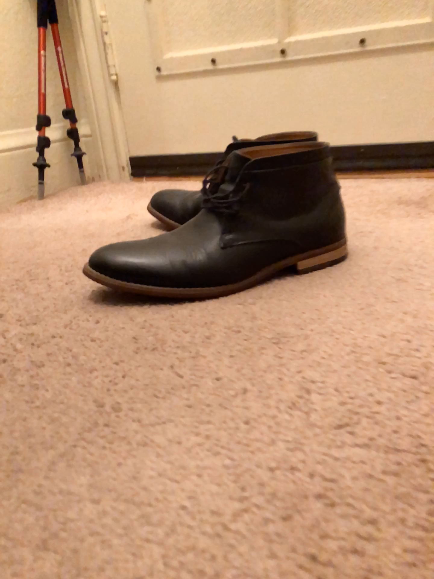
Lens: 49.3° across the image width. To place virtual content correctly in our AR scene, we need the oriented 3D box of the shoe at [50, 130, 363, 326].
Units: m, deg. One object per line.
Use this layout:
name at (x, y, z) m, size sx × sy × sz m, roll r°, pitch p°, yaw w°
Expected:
shoe at (-0.006, -0.081, 0.512) m, size 0.302 × 0.135 × 0.117 m, roll -13°, pitch 24°, yaw -17°

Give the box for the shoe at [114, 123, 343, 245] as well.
shoe at (0.018, -0.156, 0.689) m, size 0.302 × 0.135 × 0.117 m, roll 6°, pitch 25°, yaw 26°
